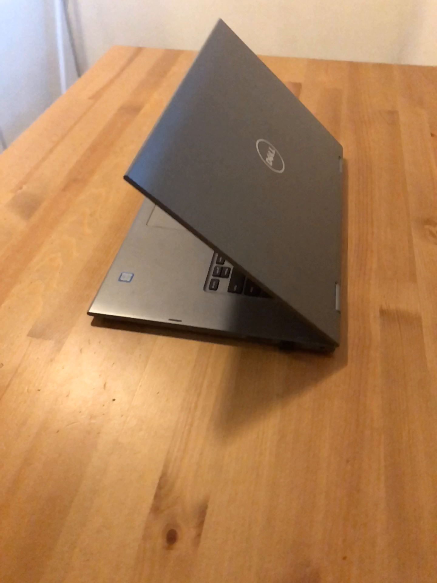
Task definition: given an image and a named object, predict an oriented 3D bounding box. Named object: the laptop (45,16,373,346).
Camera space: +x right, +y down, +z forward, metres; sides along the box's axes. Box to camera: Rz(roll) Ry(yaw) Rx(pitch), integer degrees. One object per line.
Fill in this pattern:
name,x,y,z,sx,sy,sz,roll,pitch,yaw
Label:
laptop,0.021,-0.155,0.543,0.246,0.165,0.377,7,46,8
